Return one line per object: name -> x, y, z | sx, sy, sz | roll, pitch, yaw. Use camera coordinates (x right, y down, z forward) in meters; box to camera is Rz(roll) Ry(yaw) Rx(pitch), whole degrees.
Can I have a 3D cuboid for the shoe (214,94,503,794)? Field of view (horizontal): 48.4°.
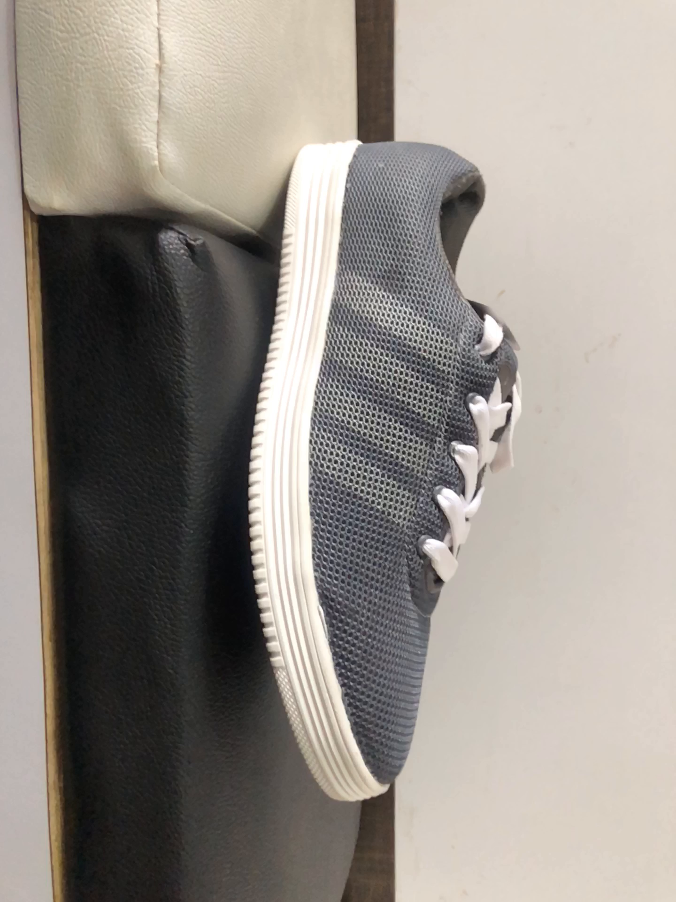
shoe -> 0.026, -0.009, 0.358 | 0.100, 0.100, 0.300 | 61, 31, -67
